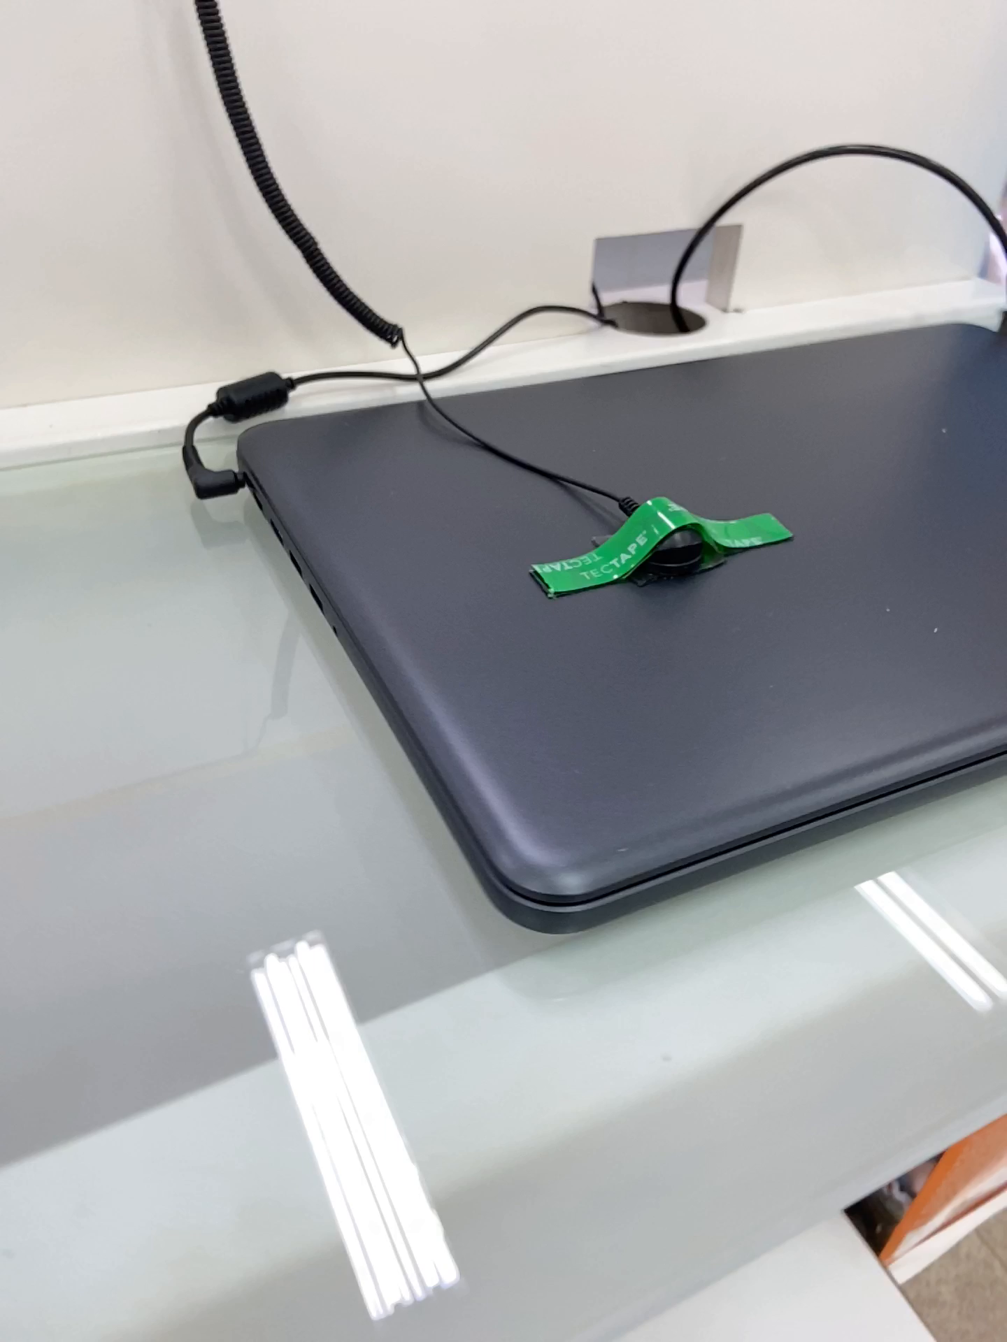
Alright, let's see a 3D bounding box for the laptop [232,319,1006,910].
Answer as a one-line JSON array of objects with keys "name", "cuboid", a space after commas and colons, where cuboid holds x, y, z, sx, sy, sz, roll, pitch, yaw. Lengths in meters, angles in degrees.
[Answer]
[{"name": "laptop", "cuboid": [0.111, -0.061, 0.358, 0.351, 0.001, 0.233, -15, 42, -22]}]
